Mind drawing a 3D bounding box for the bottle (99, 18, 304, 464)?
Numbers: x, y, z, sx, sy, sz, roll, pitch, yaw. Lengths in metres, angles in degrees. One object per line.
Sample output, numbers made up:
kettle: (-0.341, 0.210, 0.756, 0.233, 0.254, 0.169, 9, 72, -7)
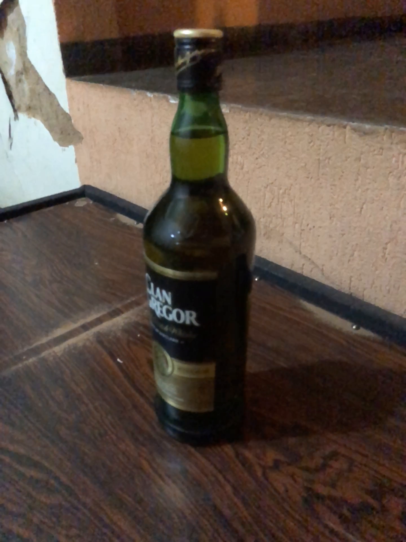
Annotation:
bottle: (0.002, -0.009, 0.332, 0.080, 0.308, 0.090, -21, 35, -30)
